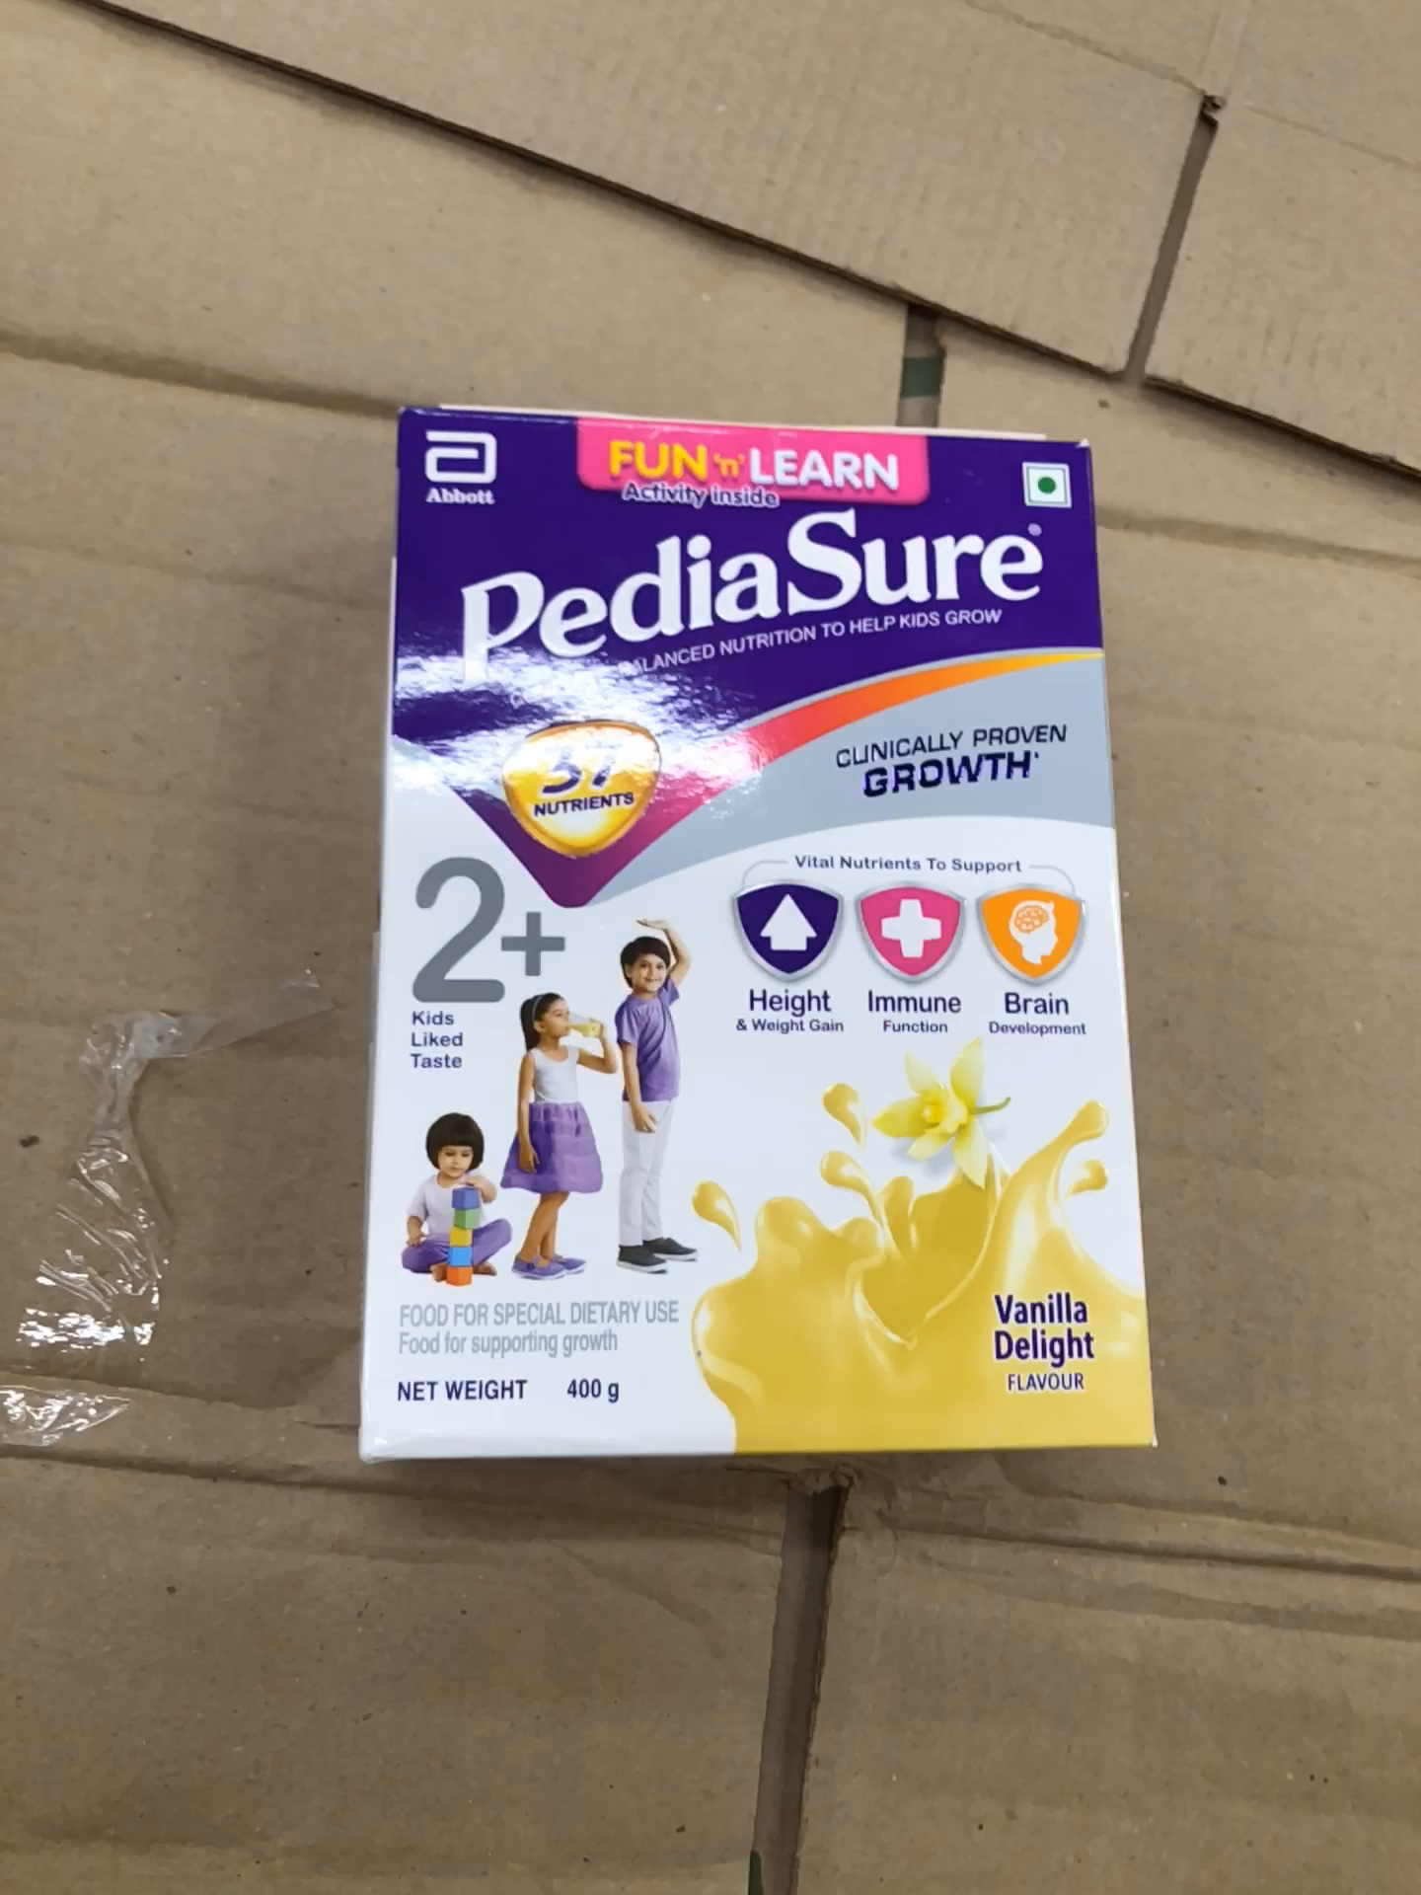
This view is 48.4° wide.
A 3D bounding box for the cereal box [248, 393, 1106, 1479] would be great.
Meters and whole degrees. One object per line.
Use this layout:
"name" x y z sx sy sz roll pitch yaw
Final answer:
"cereal box" -0.006 -0.002 0.302 0.140 0.050 0.190 1 77 -6
